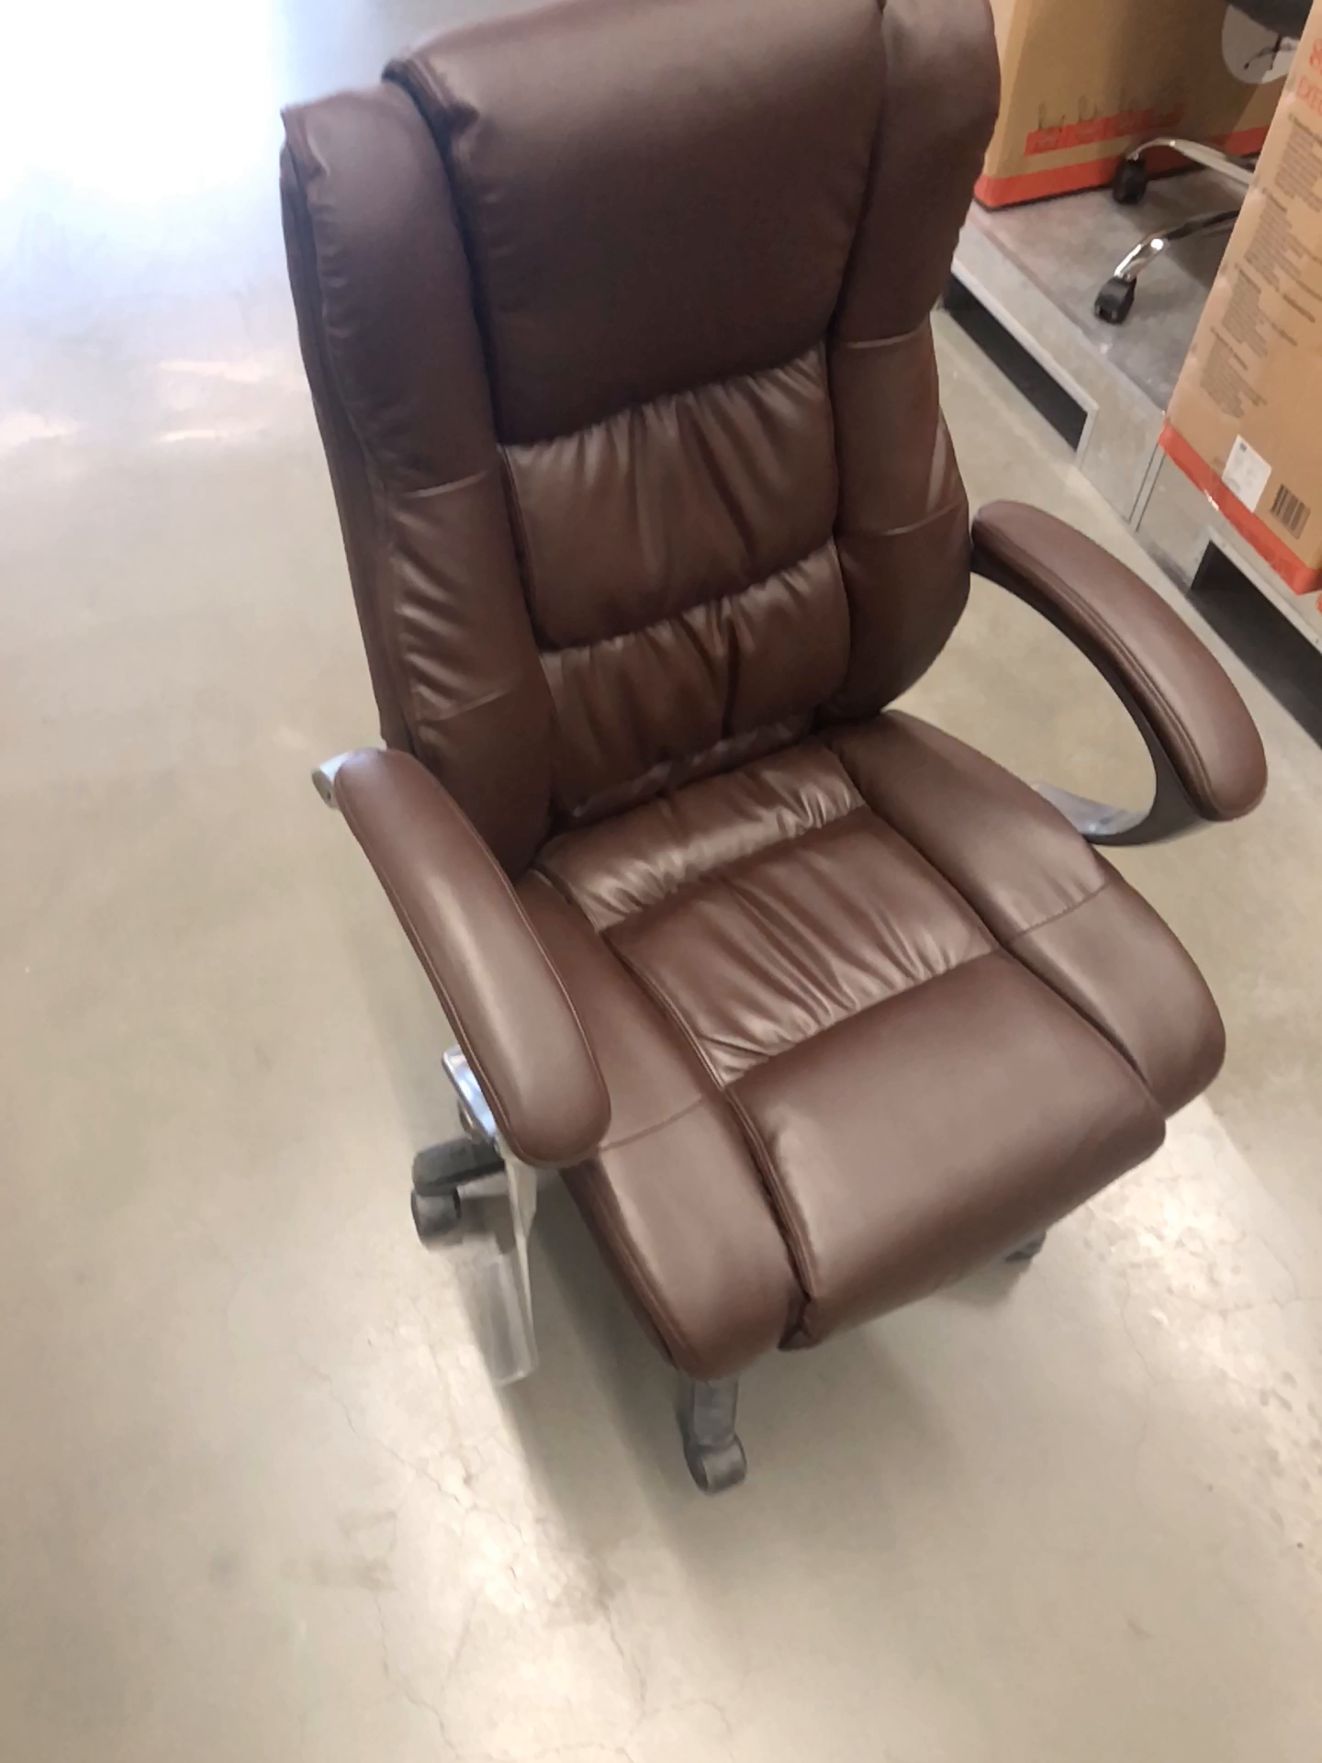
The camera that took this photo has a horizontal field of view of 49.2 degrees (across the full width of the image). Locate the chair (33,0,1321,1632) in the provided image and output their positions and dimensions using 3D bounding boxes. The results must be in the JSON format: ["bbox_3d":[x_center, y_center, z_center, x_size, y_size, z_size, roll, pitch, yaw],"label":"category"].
[{"bbox_3d":[0.109,-0.021,1.128,0.682,1.093,0.653,-22,56,-18],"label":"chair"}]
